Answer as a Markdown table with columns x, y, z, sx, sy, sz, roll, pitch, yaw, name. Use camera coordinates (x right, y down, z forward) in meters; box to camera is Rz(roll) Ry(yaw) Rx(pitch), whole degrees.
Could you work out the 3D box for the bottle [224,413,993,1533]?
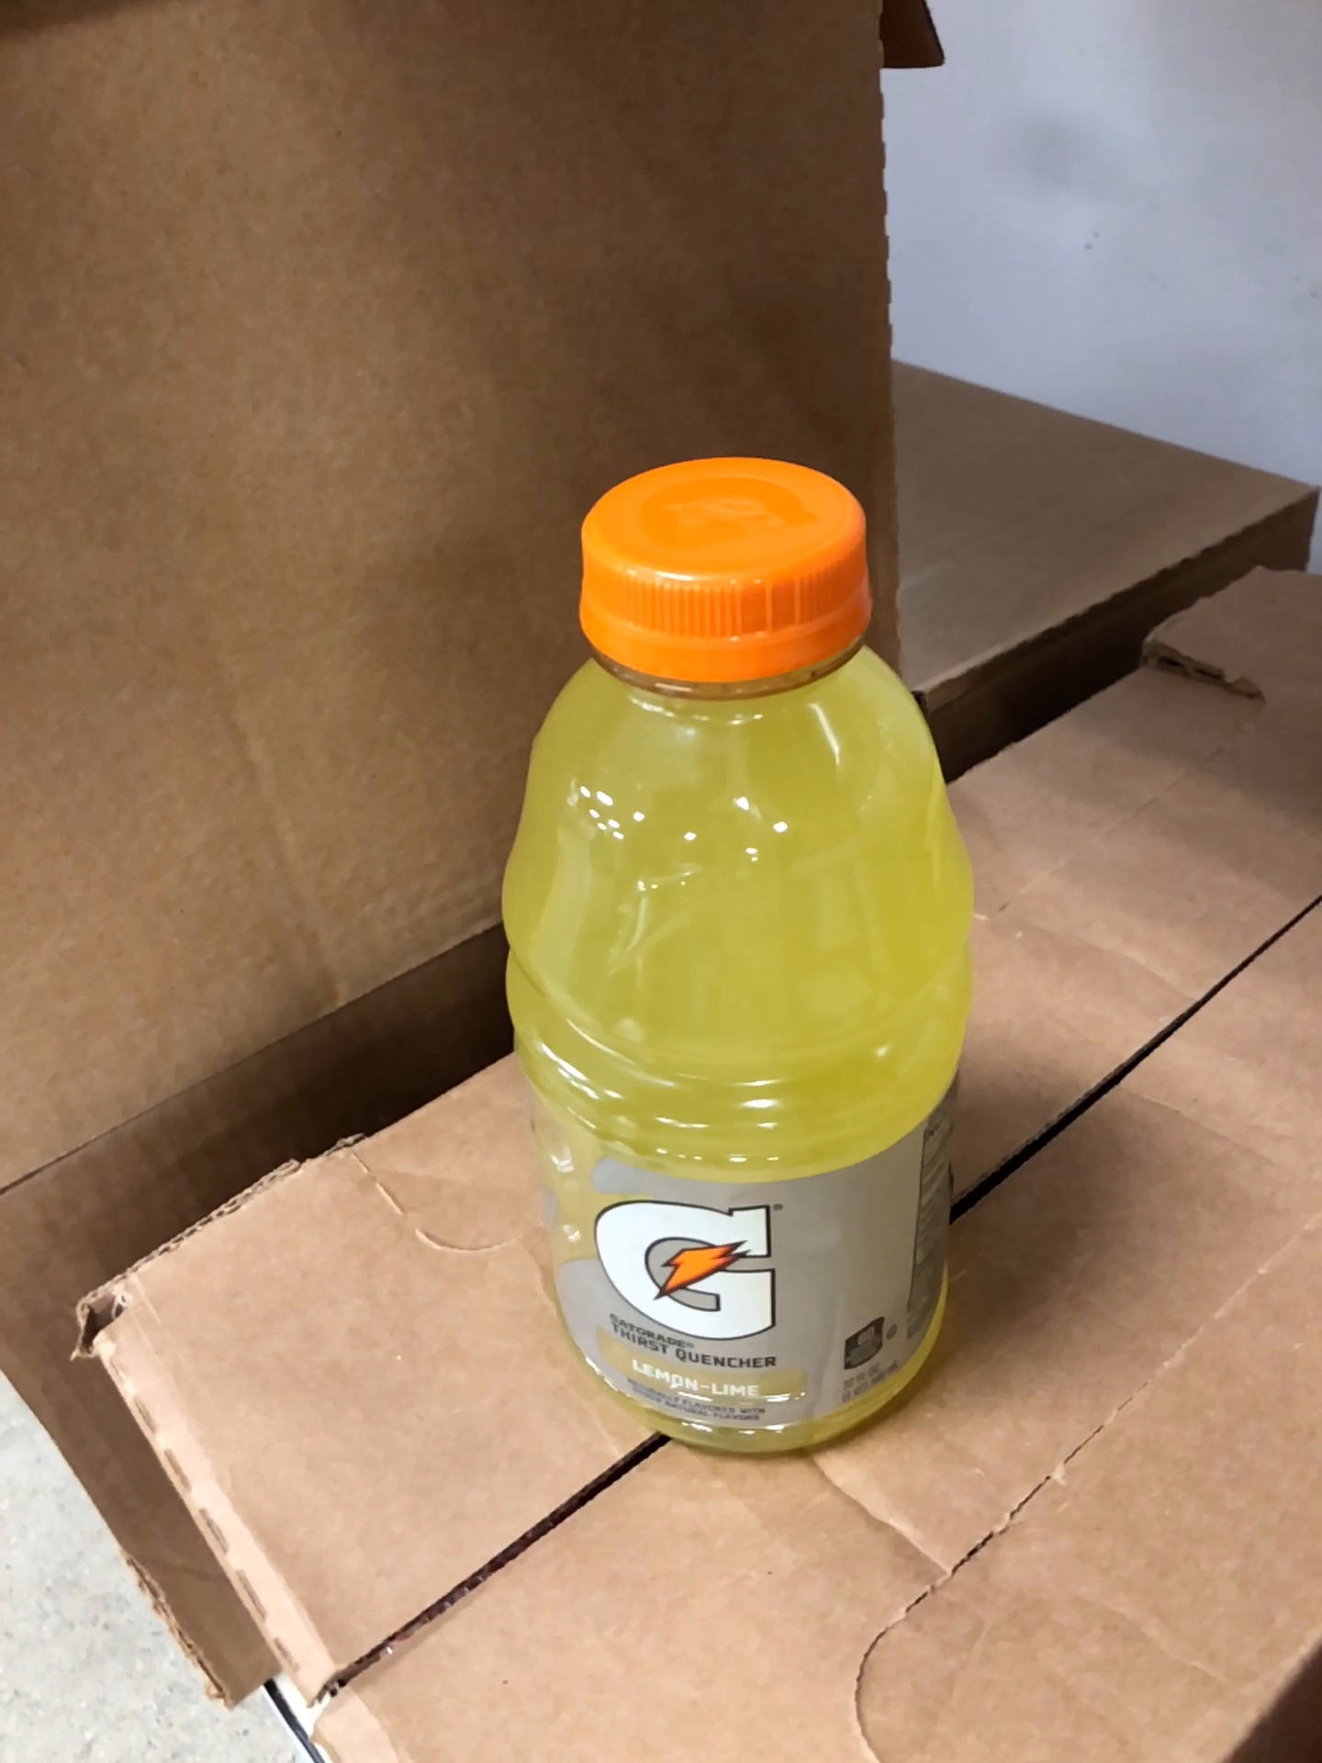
| x | y | z | sx | sy | sz | roll | pitch | yaw | name |
| --- | --- | --- | --- | --- | --- | --- | --- | --- | --- |
| 0.007 | 0.024 | 0.302 | 0.100 | 0.209 | 0.090 | 7 | 40 | 19 | bottle |
